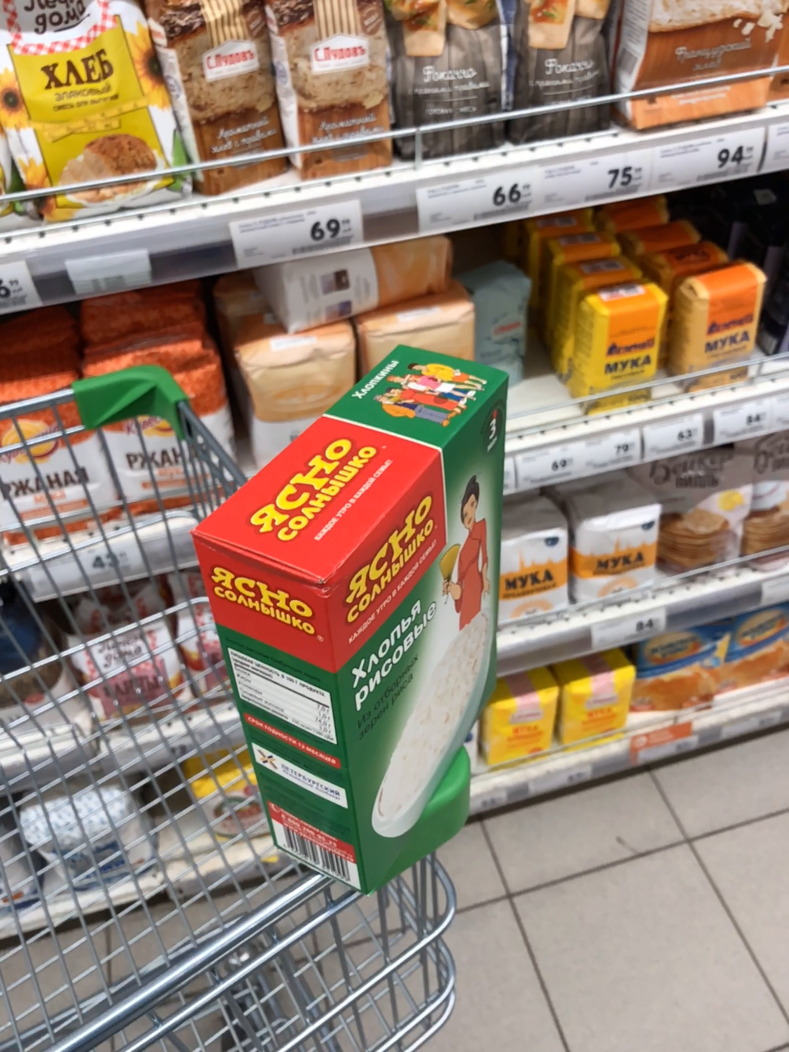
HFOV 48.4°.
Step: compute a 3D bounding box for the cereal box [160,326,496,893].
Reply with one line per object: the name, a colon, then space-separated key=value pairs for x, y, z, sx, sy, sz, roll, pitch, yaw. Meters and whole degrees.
cereal box: x=-0.012 y=0.038 z=0.370 sx=0.050 sy=0.189 sz=0.141 roll=18 pitch=46 yaw=23
